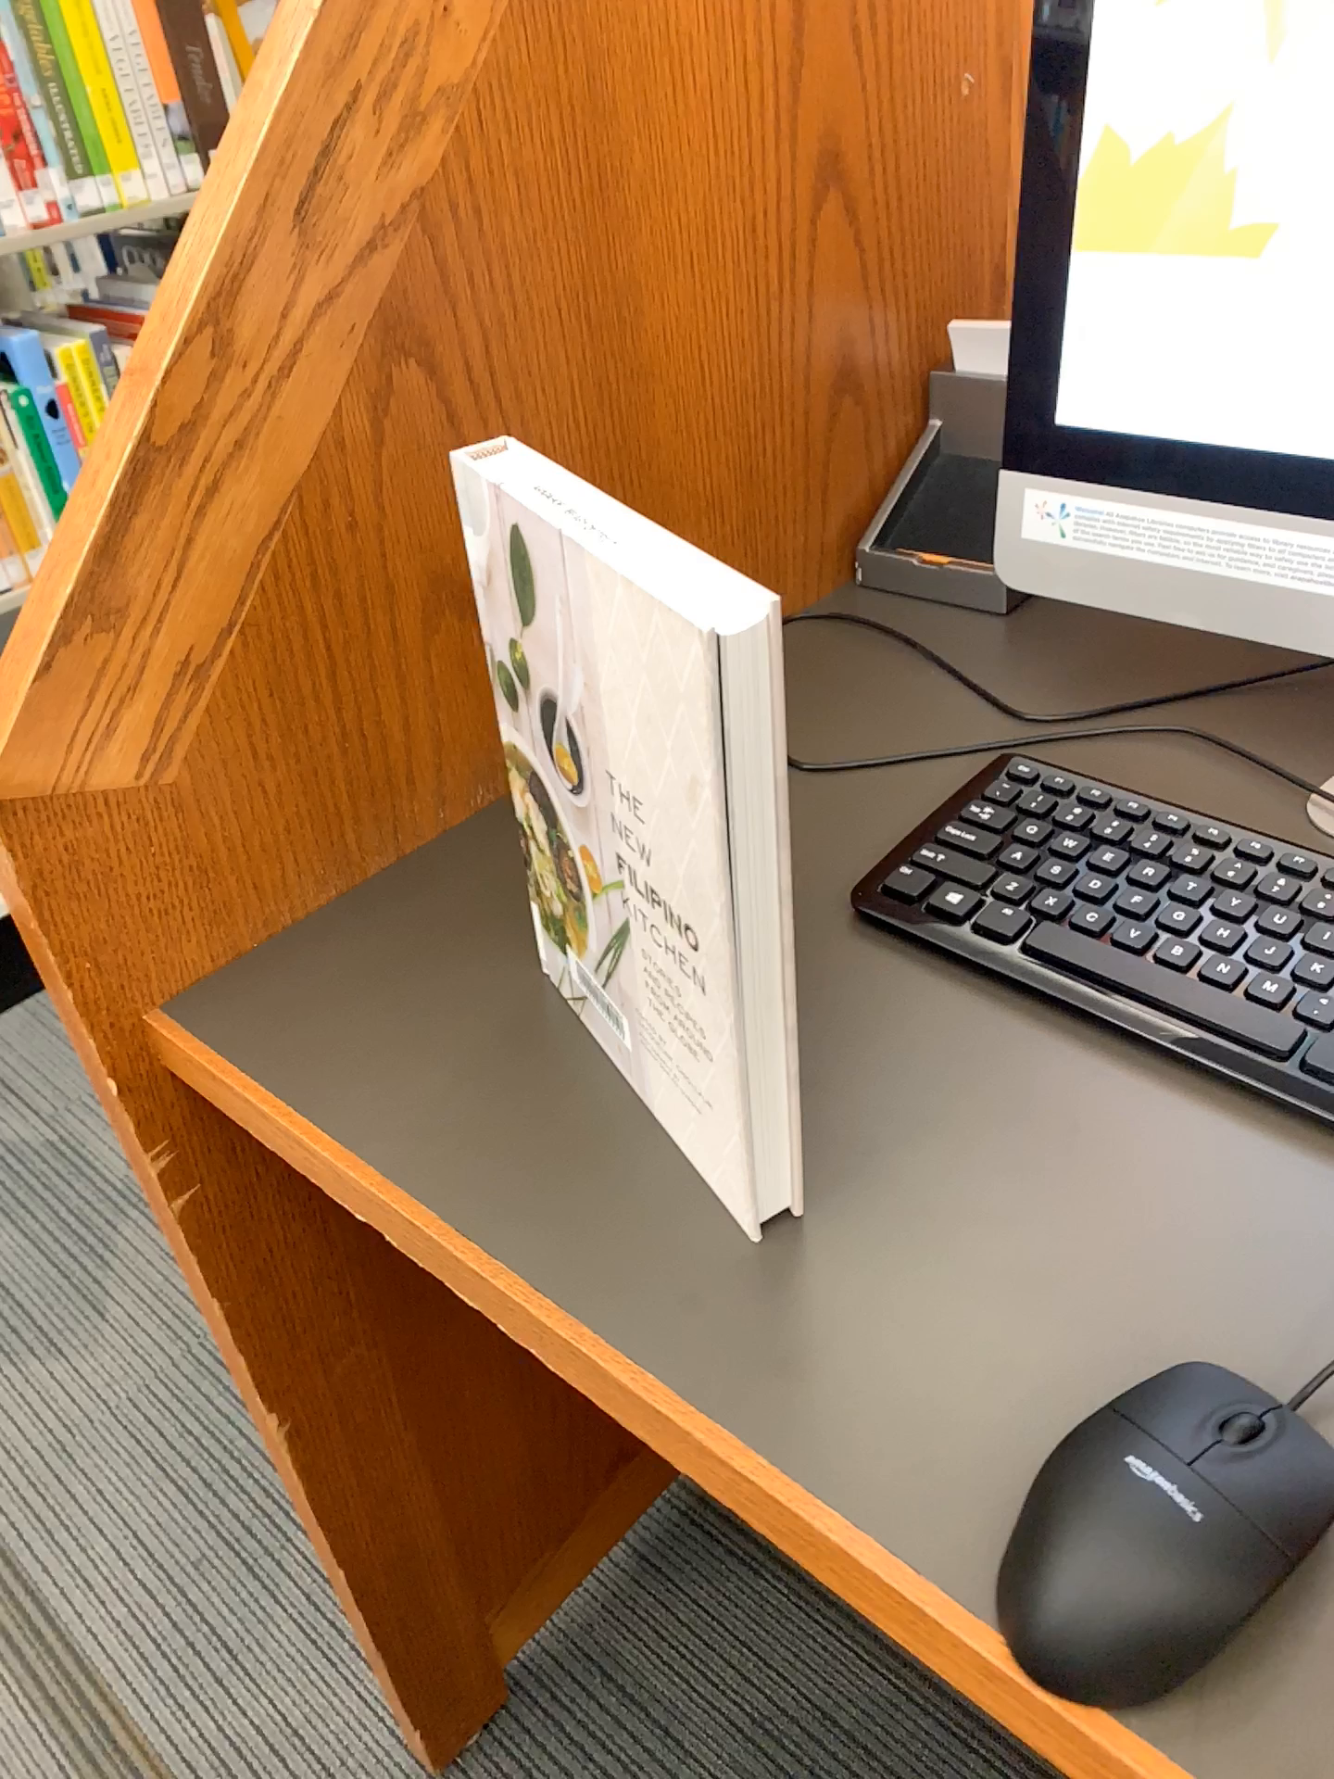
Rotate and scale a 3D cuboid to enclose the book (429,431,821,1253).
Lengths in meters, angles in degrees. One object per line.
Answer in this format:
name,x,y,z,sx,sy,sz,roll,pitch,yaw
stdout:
book,-0.015,-0.021,0.479,0.030,0.229,0.193,-21,37,-19
